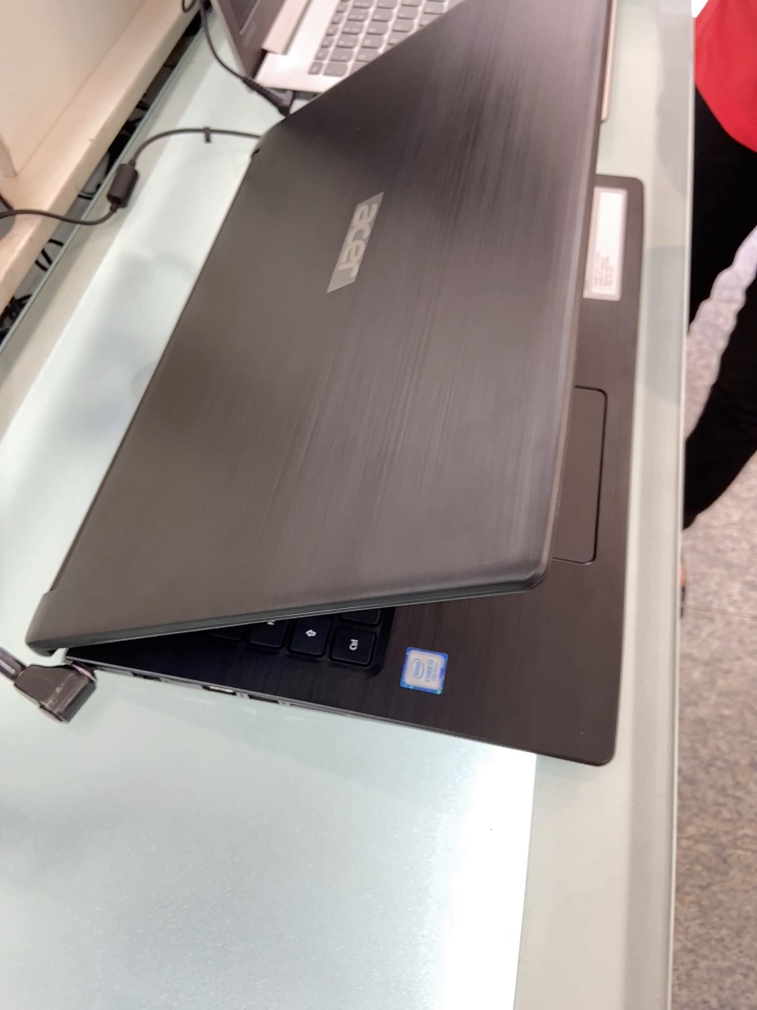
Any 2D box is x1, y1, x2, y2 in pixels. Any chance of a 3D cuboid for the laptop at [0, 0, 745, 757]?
[{"bbox_3d":[0.011,-0.111,0.358,0.232,0.142,0.368,9,59,7],"label":"laptop"}]
